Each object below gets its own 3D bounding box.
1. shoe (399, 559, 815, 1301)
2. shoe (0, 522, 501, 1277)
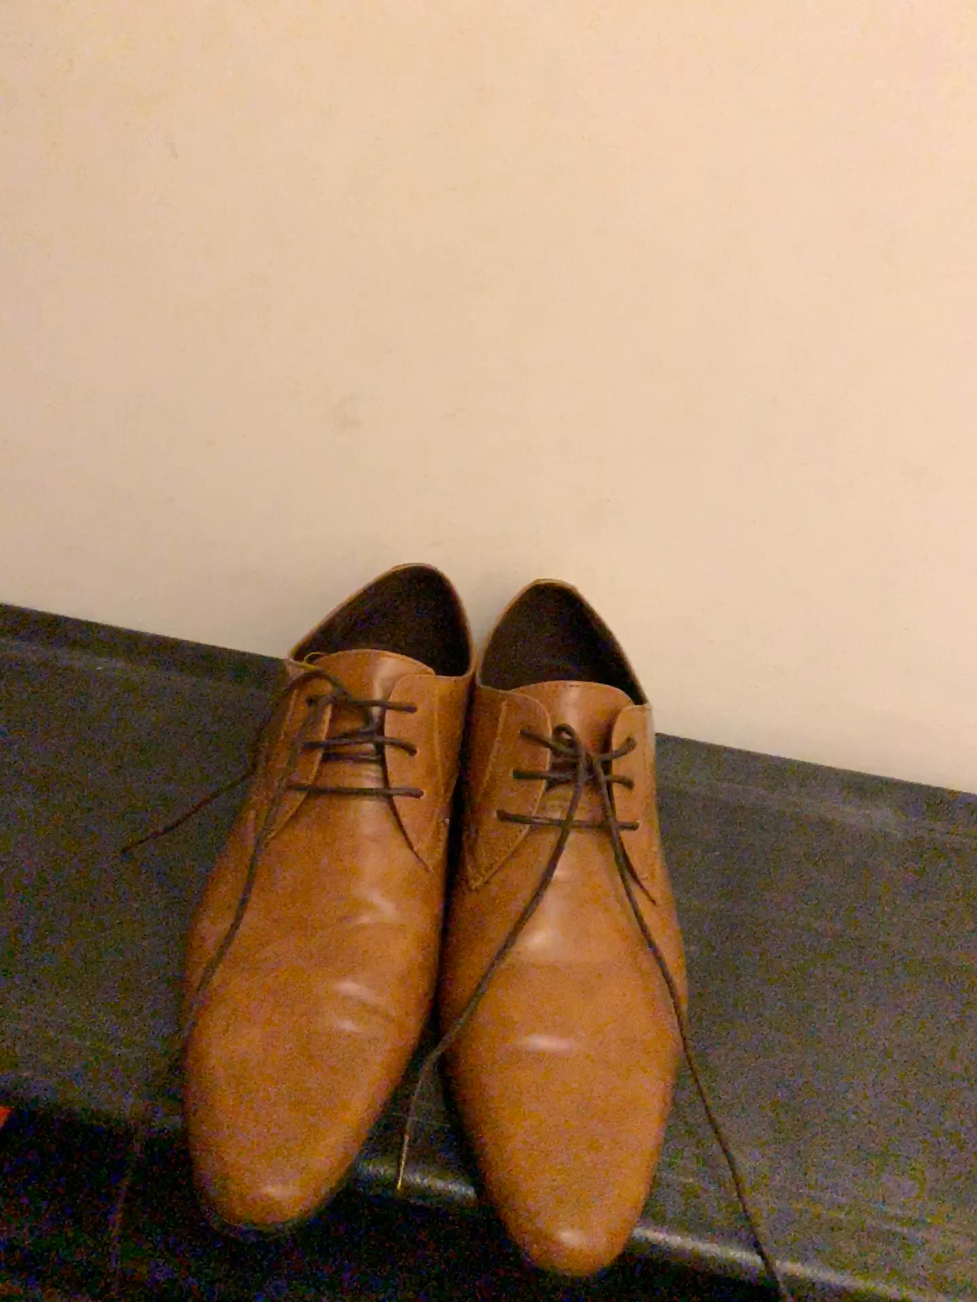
[{"bbox_3d":[0.032,0.082,0.405,0.100,0.099,0.293,7,34,-3],"label":"shoe"},{"bbox_3d":[-0.067,0.063,0.386,0.110,0.099,0.273,9,34,1],"label":"shoe"}]
